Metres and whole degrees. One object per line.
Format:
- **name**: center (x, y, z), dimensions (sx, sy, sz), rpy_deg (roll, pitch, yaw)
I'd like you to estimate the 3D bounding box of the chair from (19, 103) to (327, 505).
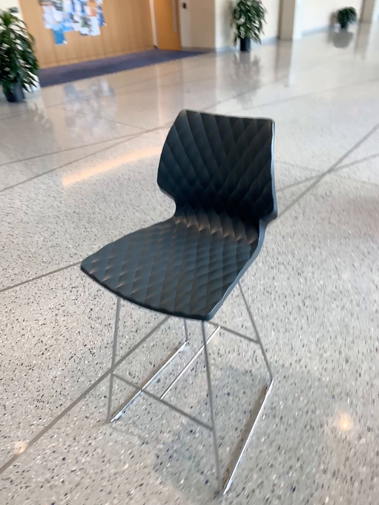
- **chair**: center (0.005, 0.158, 1.232), dimensions (0.533, 1.048, 0.549), rpy_deg (19, 39, 31)
